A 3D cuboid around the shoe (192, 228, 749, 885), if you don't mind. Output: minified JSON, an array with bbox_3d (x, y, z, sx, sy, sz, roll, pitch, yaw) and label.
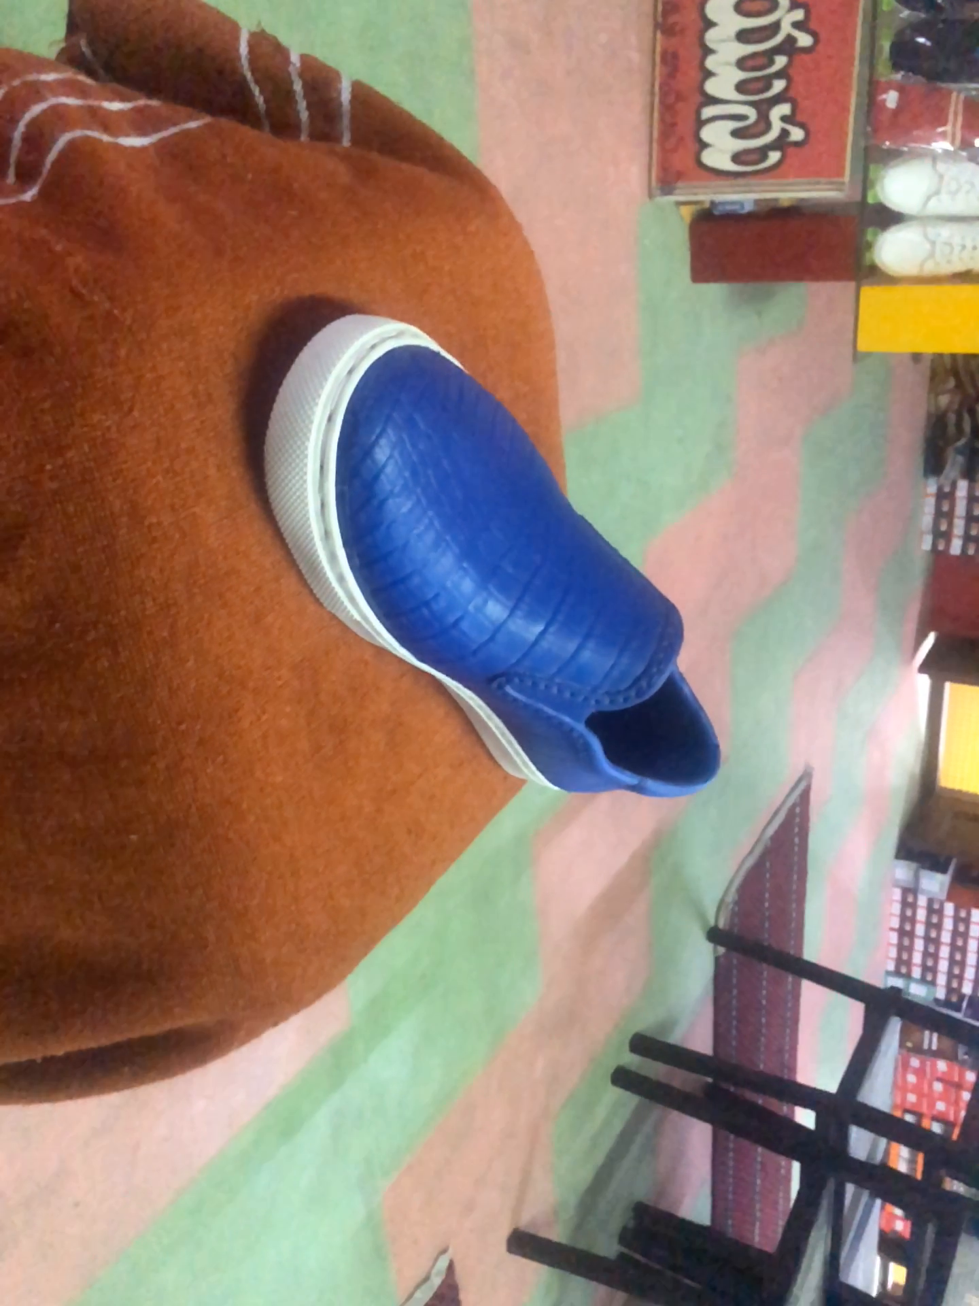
[{"bbox_3d":[0.023,-0.013,0.444,0.302,0.079,0.110,51,55,-52],"label":"shoe"}]
